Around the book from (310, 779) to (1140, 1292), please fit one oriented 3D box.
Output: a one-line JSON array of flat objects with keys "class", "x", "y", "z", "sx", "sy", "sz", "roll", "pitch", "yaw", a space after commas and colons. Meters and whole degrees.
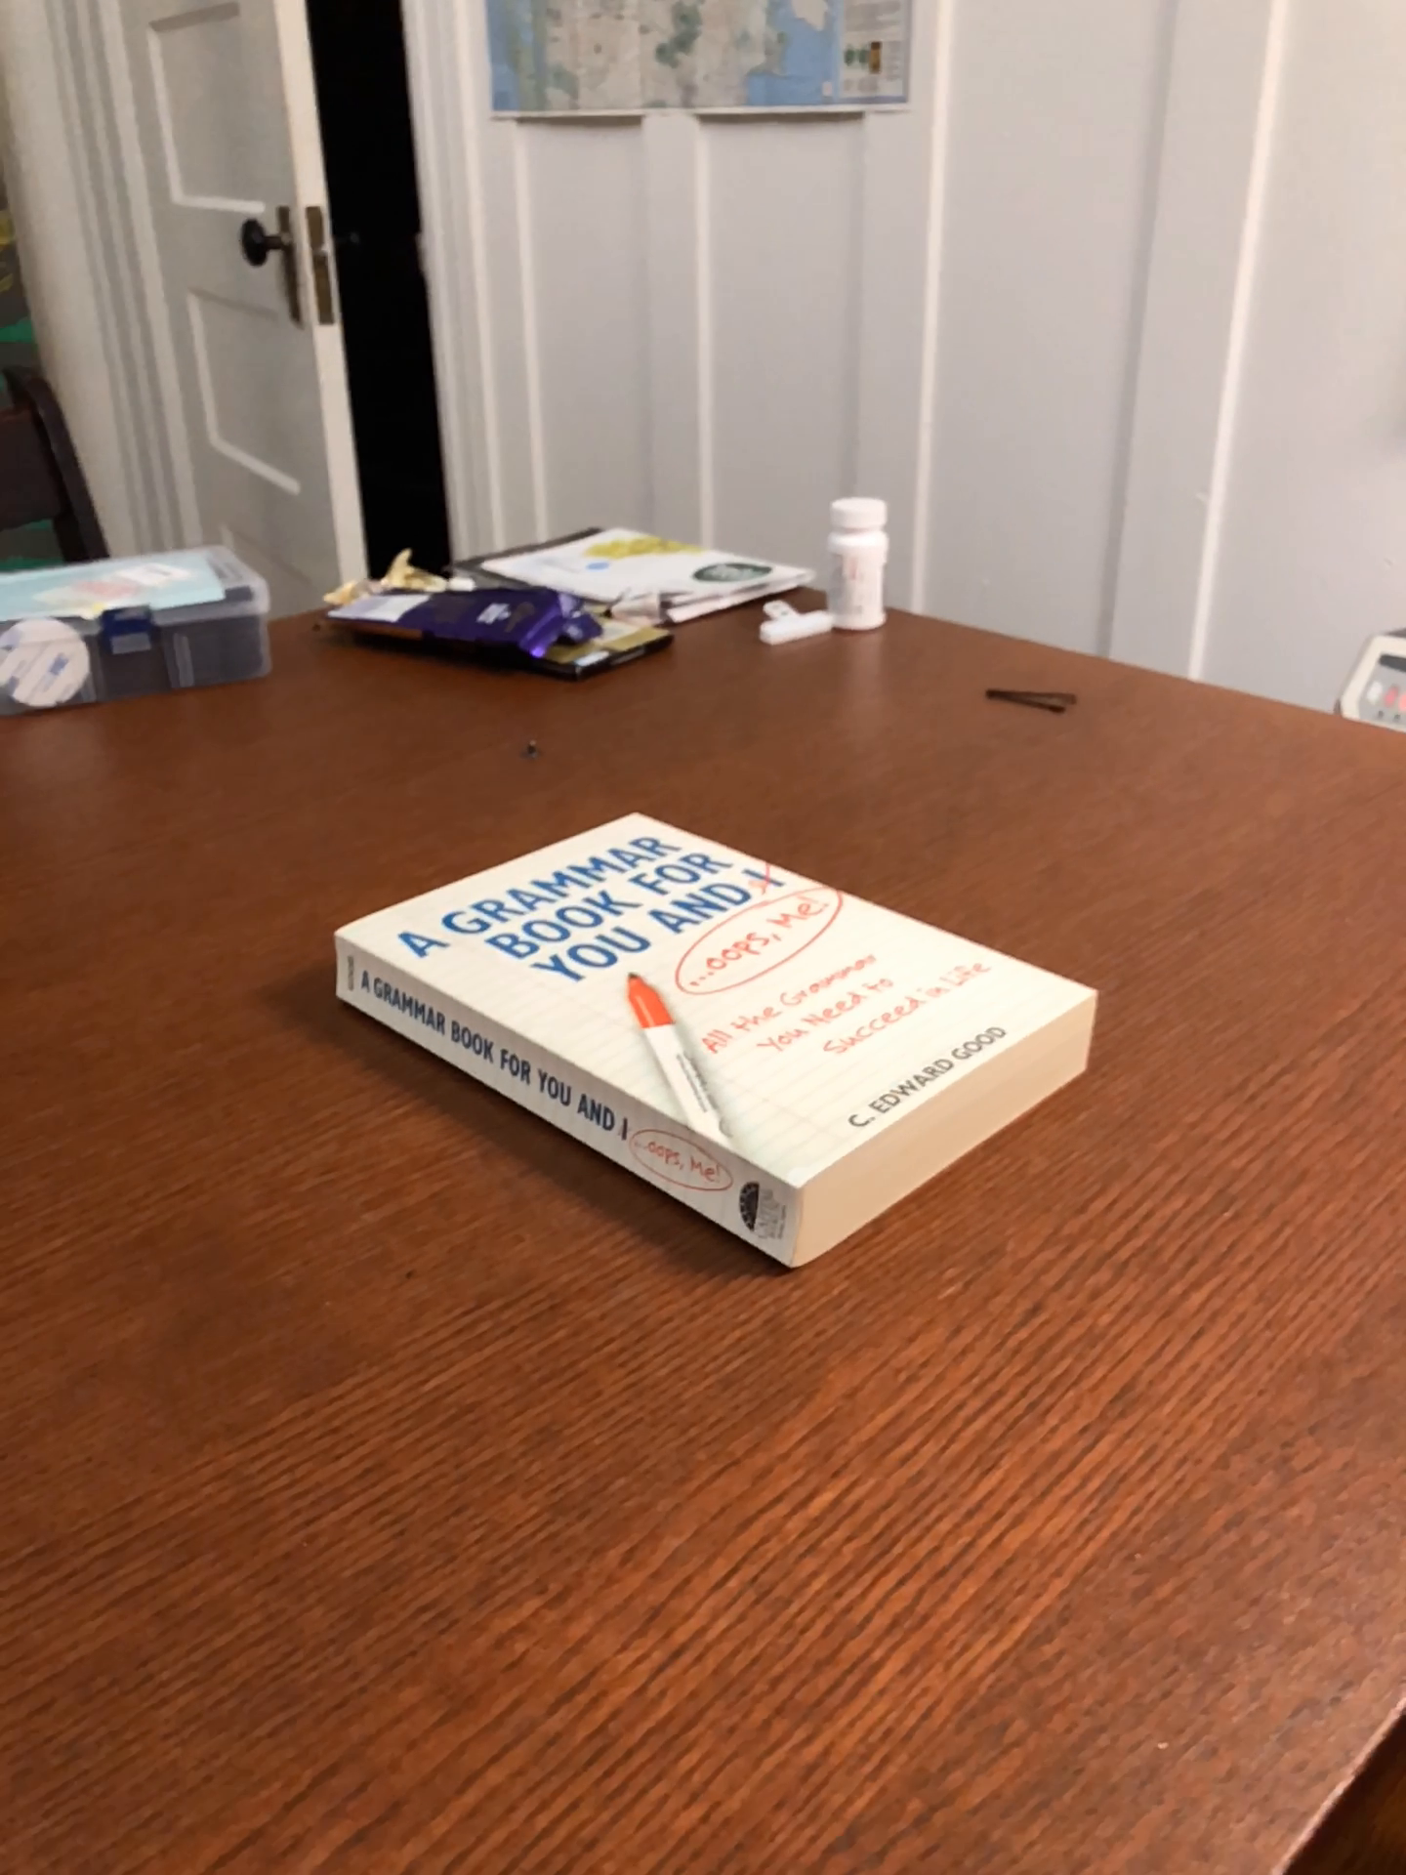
[{"class": "book", "x": 0.002, "y": 0.015, "z": 0.555, "sx": 0.241, "sy": 0.040, "sz": 0.171, "roll": 24, "pitch": 36, "yaw": 39}]
